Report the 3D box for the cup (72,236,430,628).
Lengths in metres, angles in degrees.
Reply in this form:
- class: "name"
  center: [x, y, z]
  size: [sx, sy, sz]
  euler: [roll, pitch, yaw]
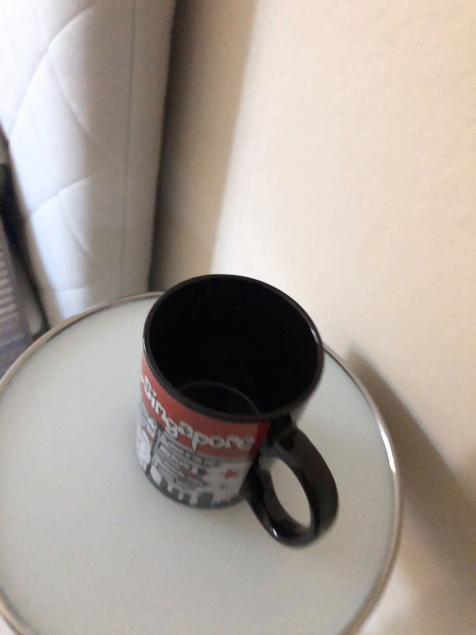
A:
- class: "cup"
  center: [-0.005, 0.051, 0.262]
  size: [0.090, 0.100, 0.130]
  euler: [-27, 60, -31]
